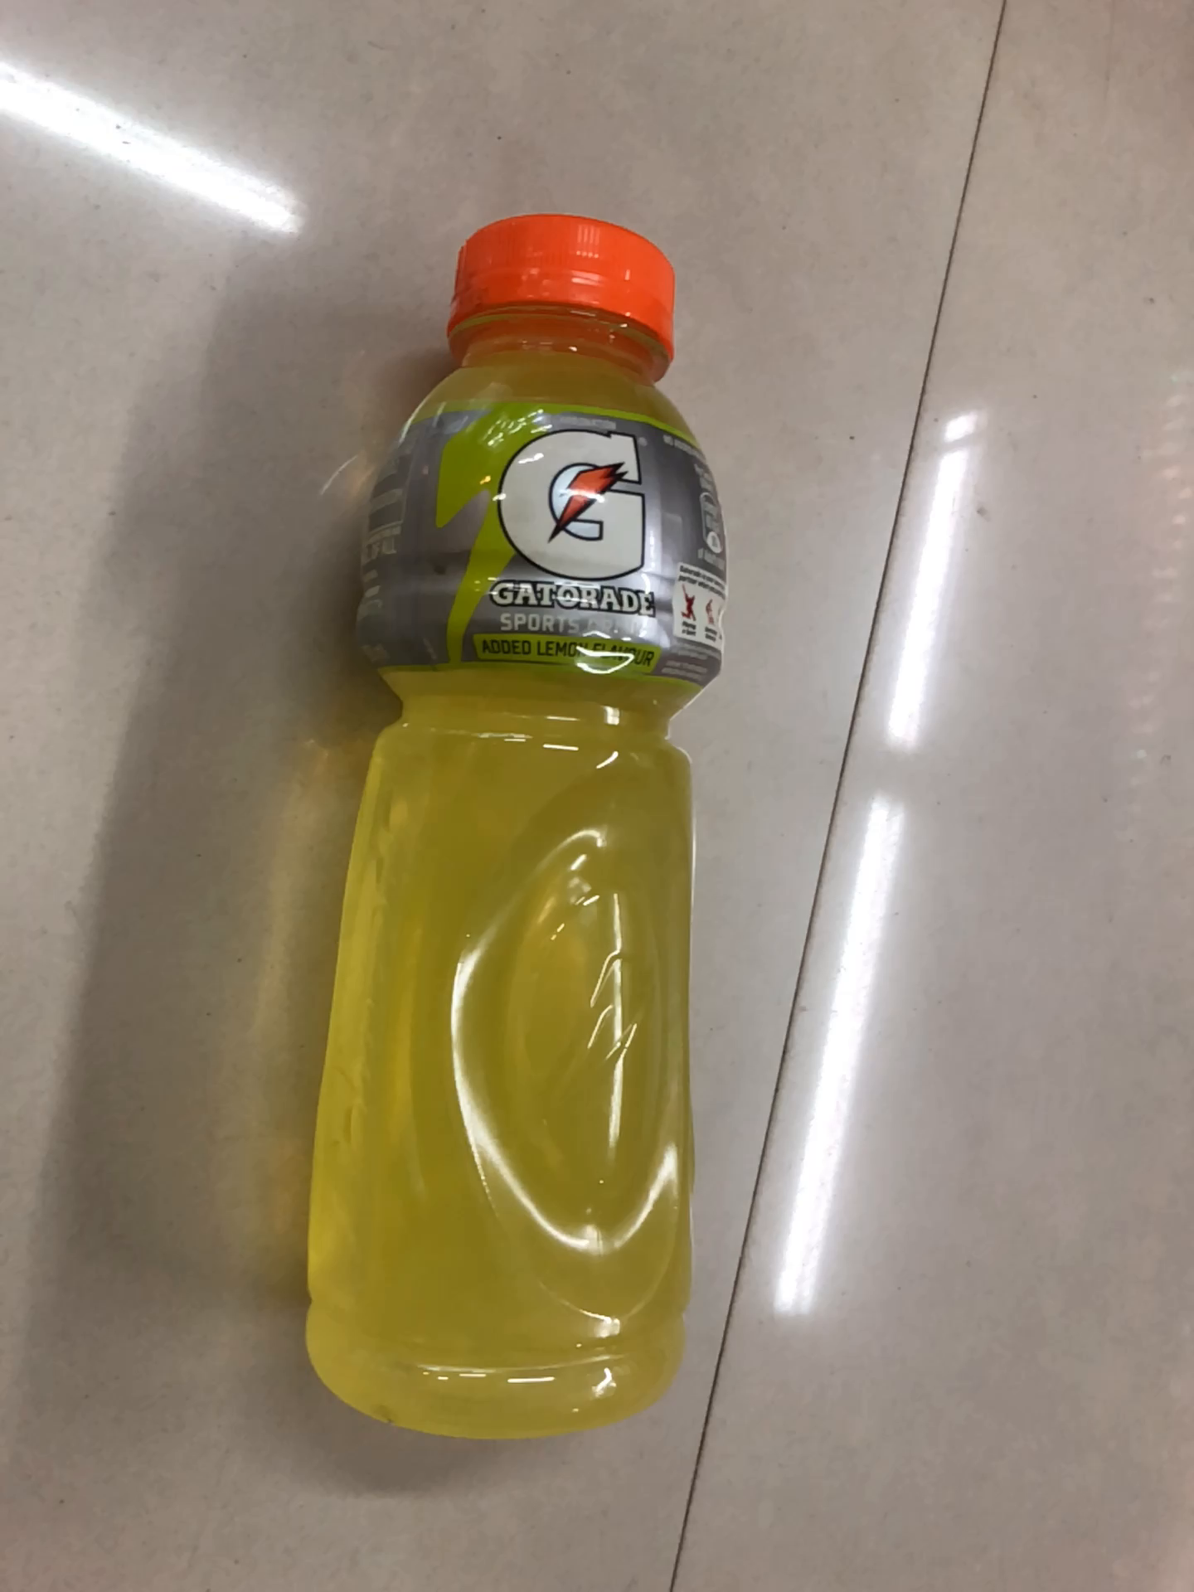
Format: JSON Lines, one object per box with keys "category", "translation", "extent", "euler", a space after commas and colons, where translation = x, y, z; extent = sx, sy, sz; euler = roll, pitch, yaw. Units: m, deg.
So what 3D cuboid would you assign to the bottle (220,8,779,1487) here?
{"category": "bottle", "translation": [-0.021, -0.006, 0.248], "extent": [0.070, 0.060, 0.230], "euler": [4, 91, -26]}
